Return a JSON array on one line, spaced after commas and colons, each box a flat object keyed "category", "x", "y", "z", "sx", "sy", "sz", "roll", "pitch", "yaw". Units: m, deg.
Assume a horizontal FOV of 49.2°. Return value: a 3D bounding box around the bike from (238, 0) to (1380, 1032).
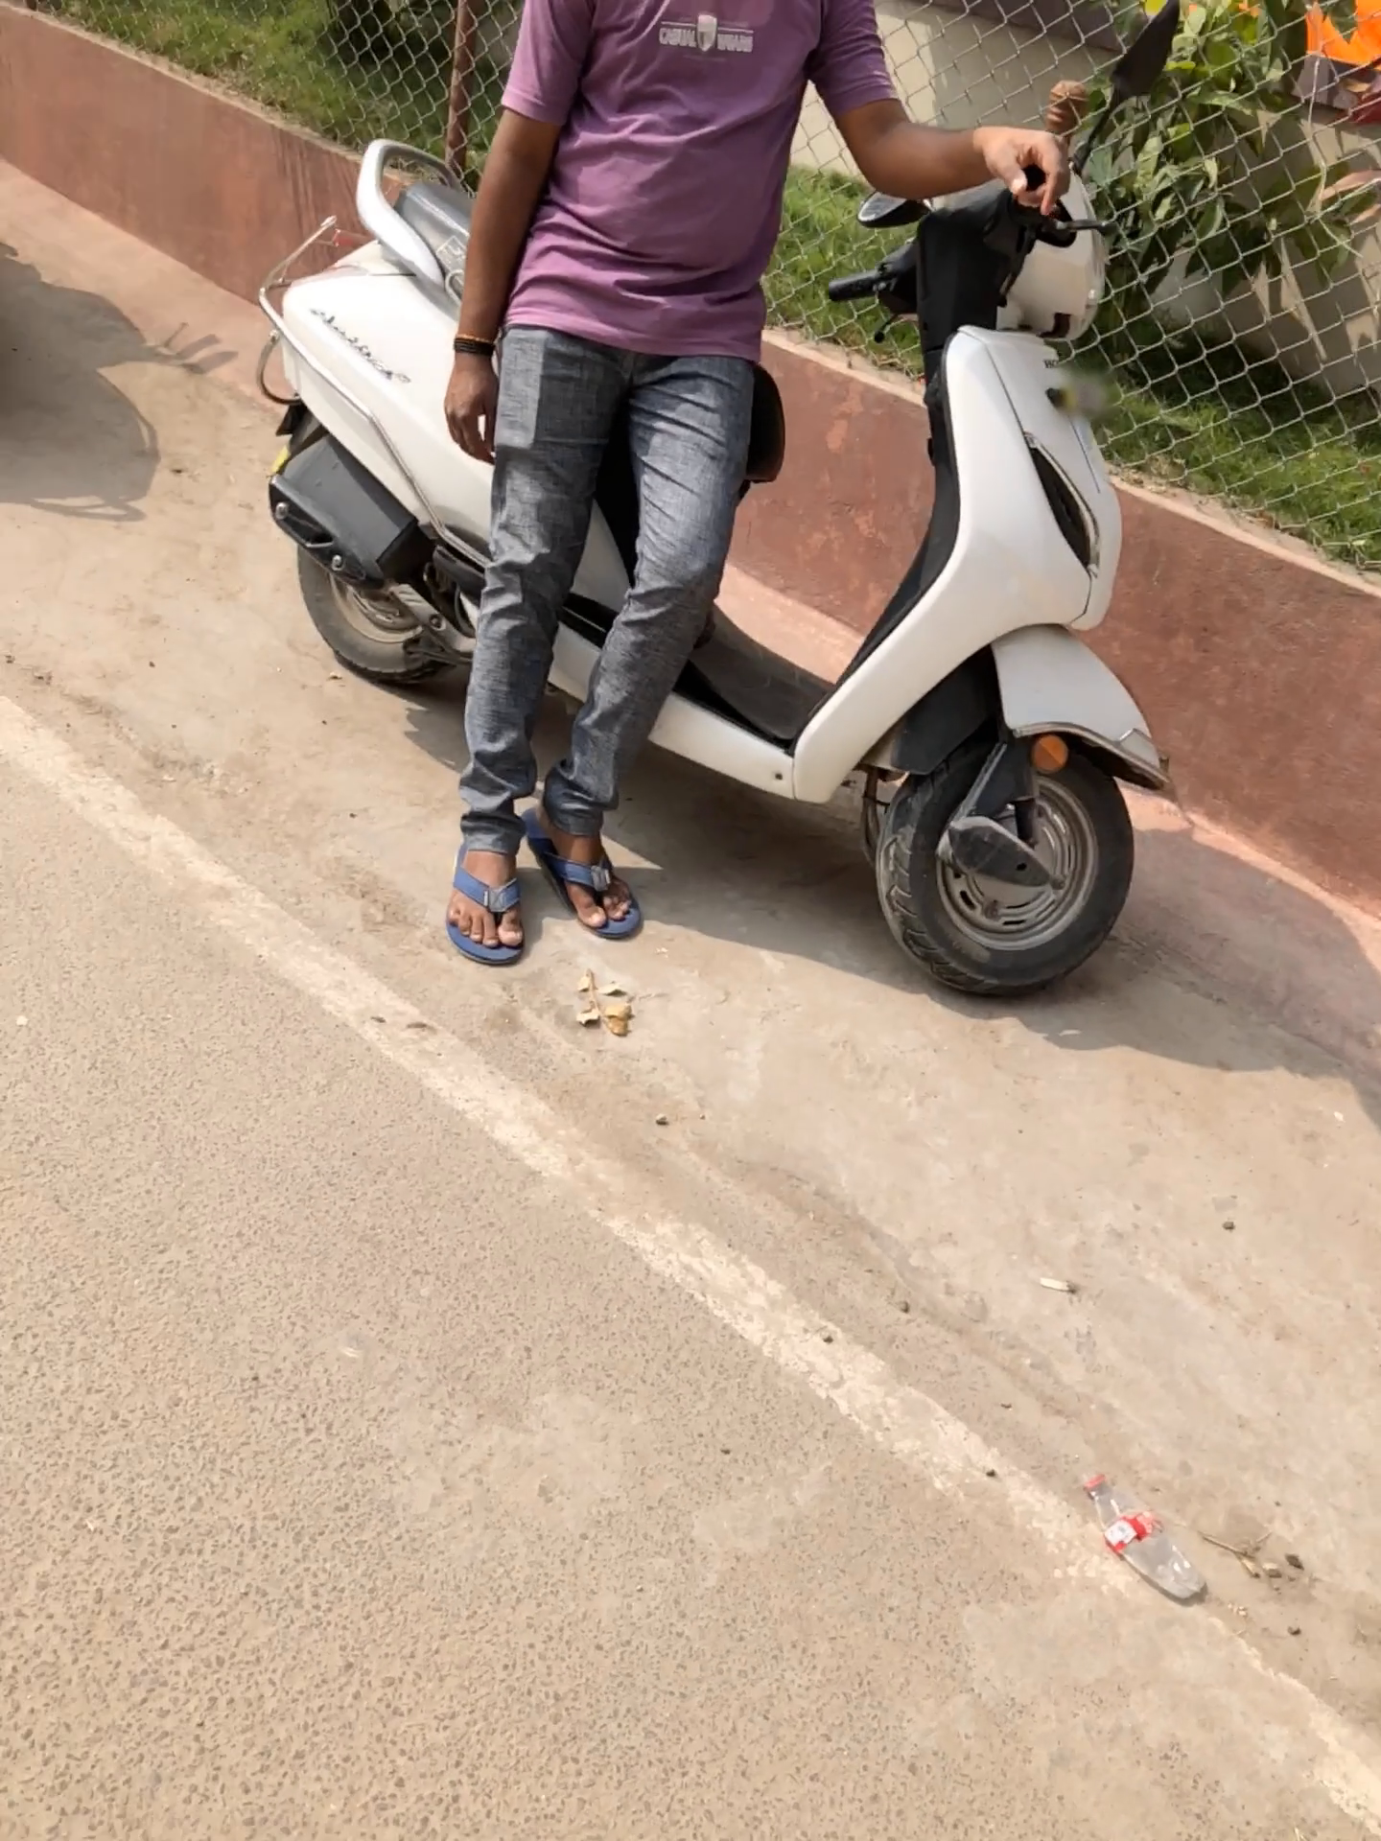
[{"category": "bike", "x": 0.116, "y": -0.711, "z": 2.482, "sx": 1.550, "sy": 1.112, "sz": 0.622, "roll": 24, "pitch": 35, "yaw": 16}]
